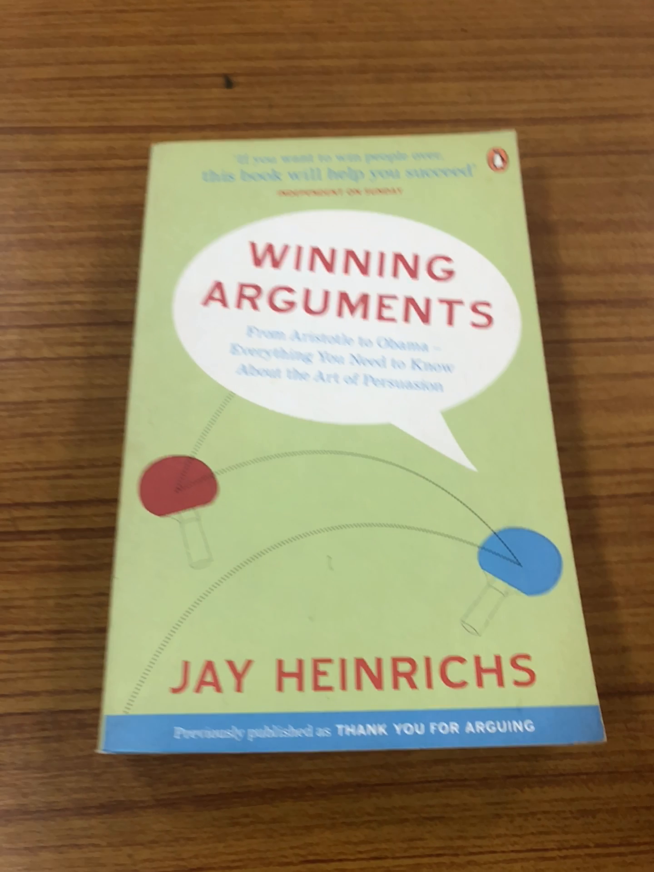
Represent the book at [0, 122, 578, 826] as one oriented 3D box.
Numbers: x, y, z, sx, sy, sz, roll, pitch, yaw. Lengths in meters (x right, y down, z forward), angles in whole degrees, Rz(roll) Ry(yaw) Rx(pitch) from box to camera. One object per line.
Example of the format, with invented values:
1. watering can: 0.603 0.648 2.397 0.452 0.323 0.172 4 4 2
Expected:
1. book: -0.012 -0.002 0.226 0.140 0.030 0.210 -1 69 -1
